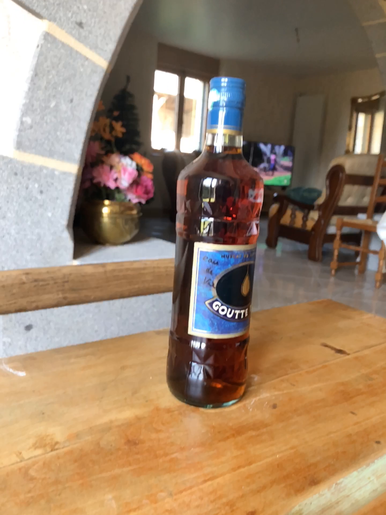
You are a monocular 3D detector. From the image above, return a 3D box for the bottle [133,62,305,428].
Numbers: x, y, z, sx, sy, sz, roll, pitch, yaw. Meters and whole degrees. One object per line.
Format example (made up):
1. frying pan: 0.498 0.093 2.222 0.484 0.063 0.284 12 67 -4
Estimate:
1. bottle: 0.016 -0.011 0.388 0.090 0.279 0.100 -4 14 -37
